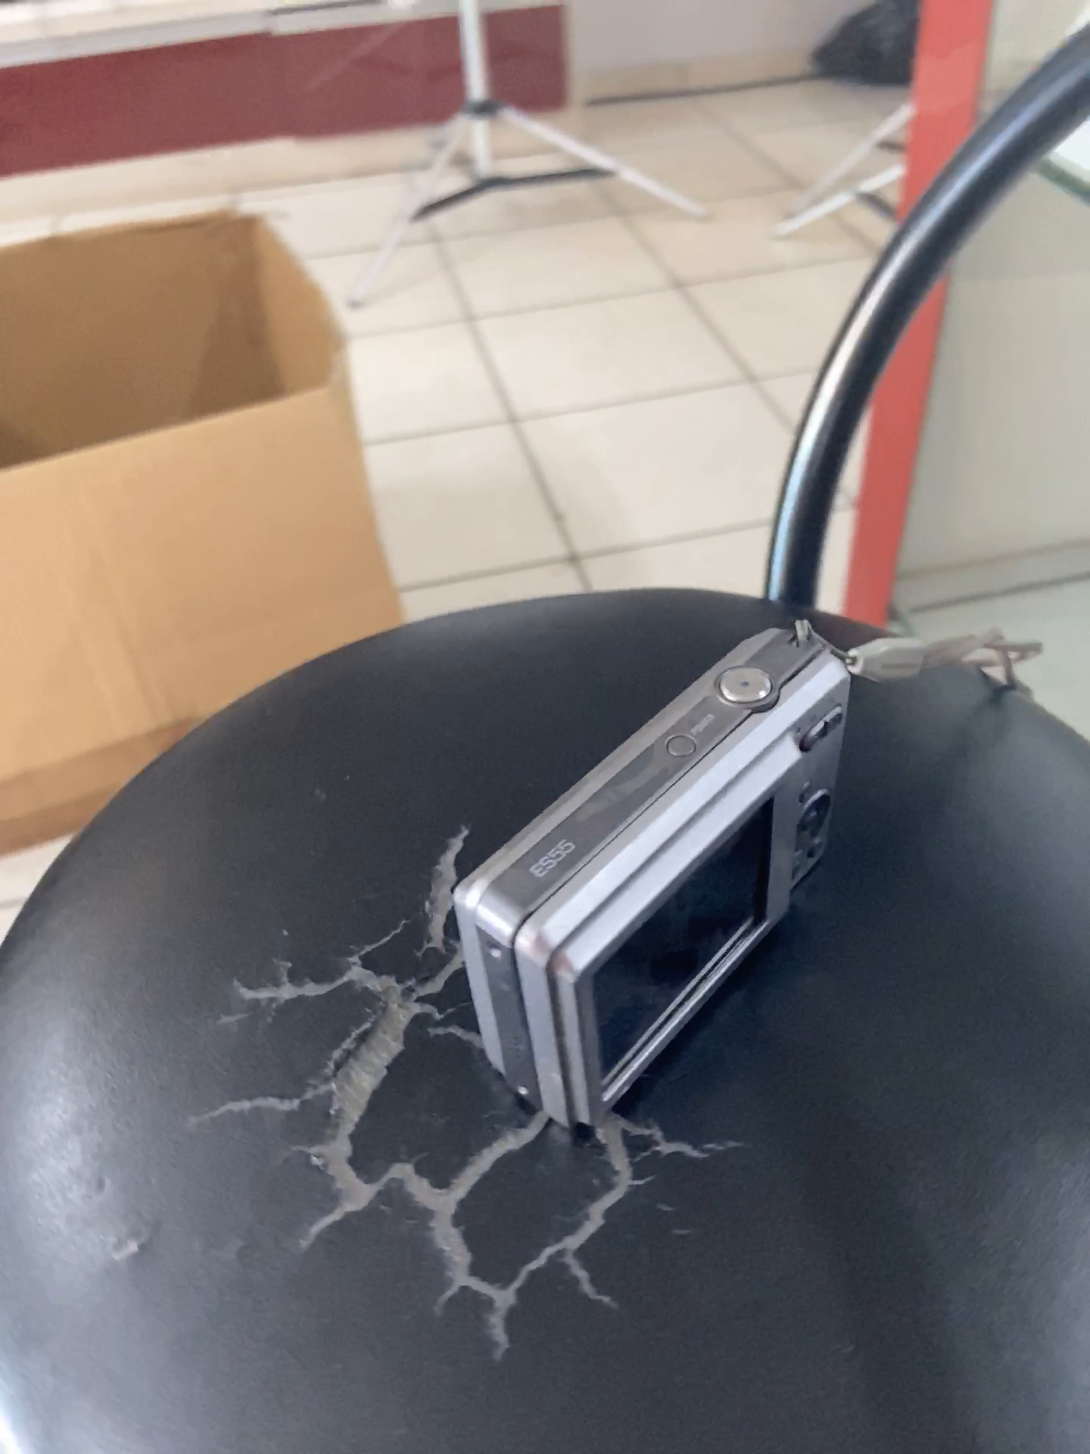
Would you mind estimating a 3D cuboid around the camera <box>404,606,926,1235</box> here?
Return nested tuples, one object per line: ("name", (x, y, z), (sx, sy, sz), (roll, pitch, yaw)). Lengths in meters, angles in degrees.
("camera", (0.025, 0.034, 0.216), (0.040, 0.070, 0.090), (31, 53, 32))
